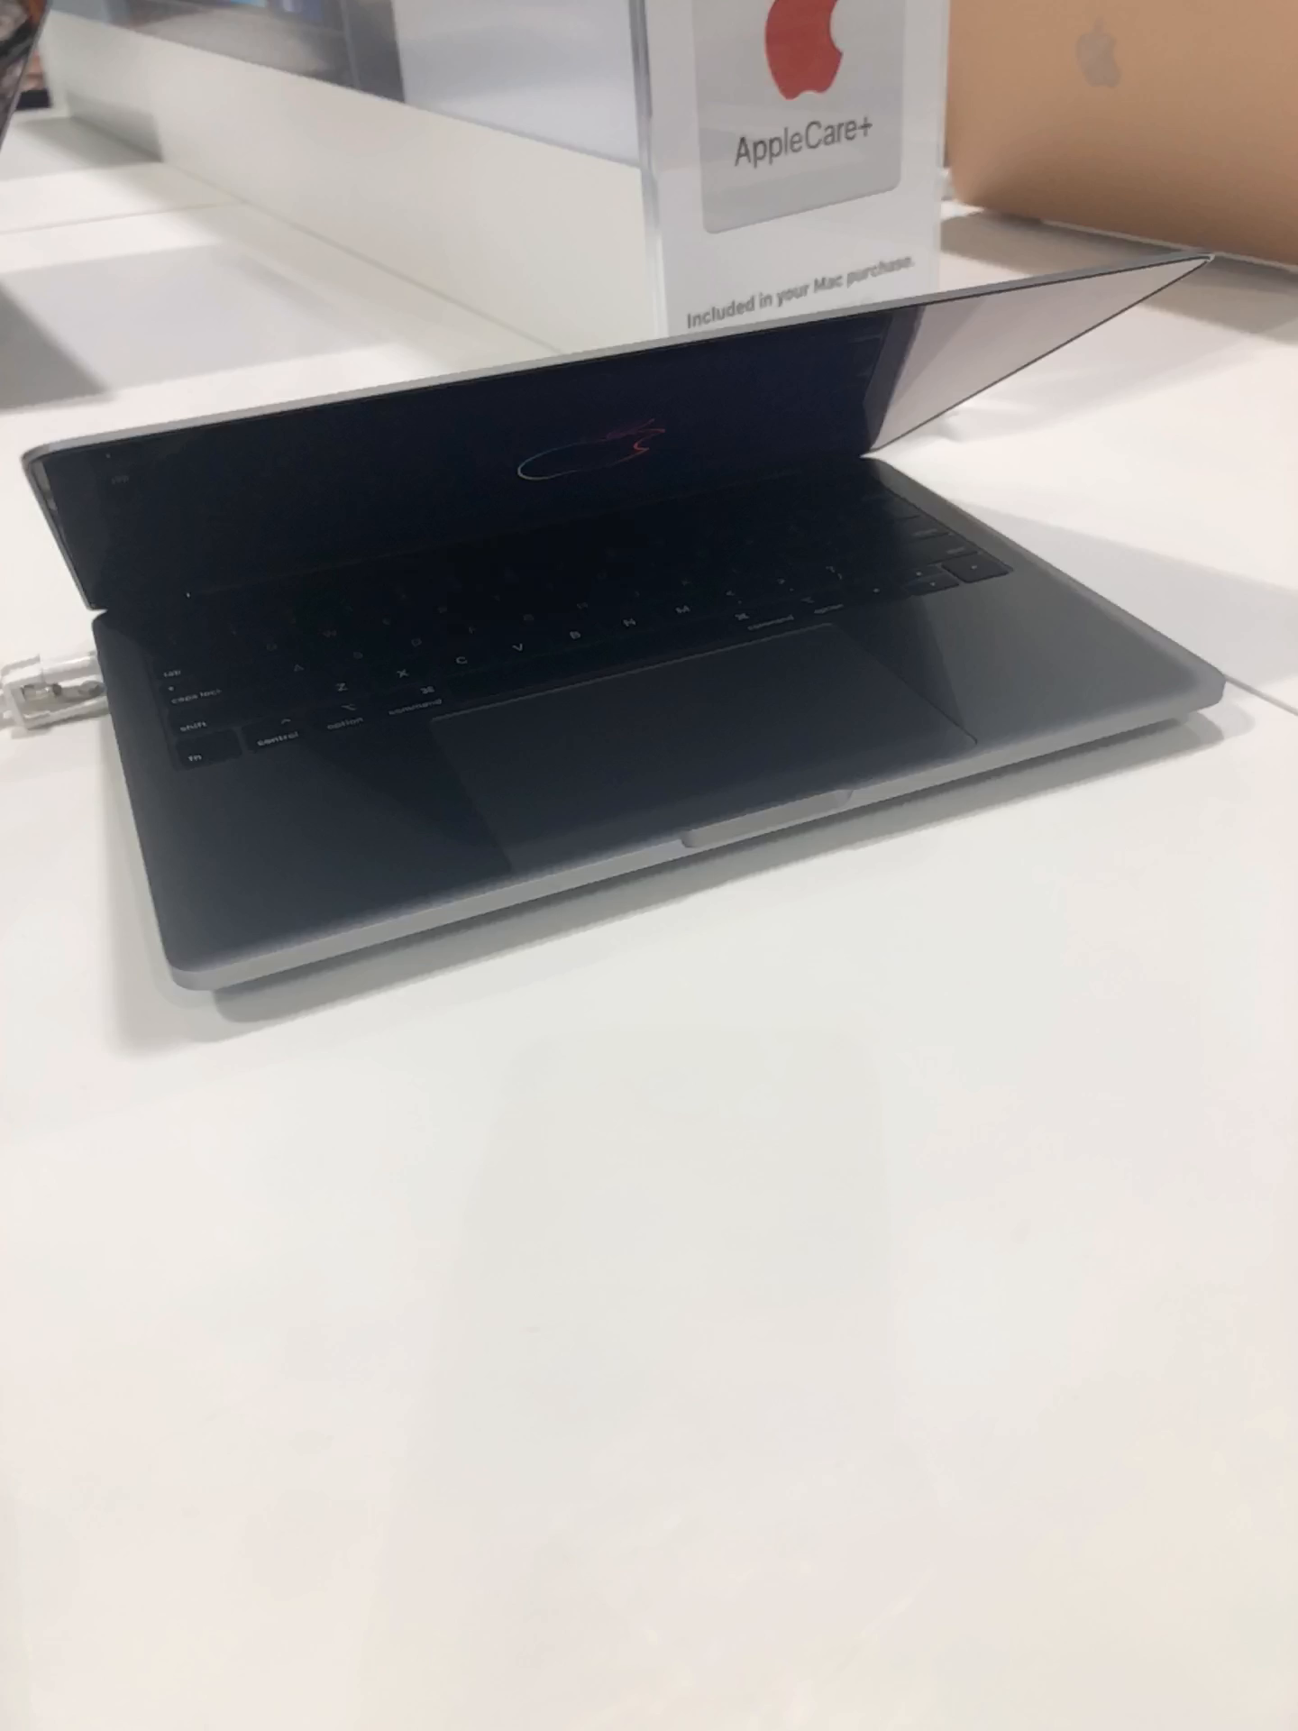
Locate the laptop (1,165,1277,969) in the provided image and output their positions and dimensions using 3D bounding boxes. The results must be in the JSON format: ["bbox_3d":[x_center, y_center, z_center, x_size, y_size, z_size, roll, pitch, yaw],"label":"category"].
[{"bbox_3d":[-0.015,-0.113,0.422,0.294,0.109,0.205,-16,38,-17],"label":"laptop"}]
